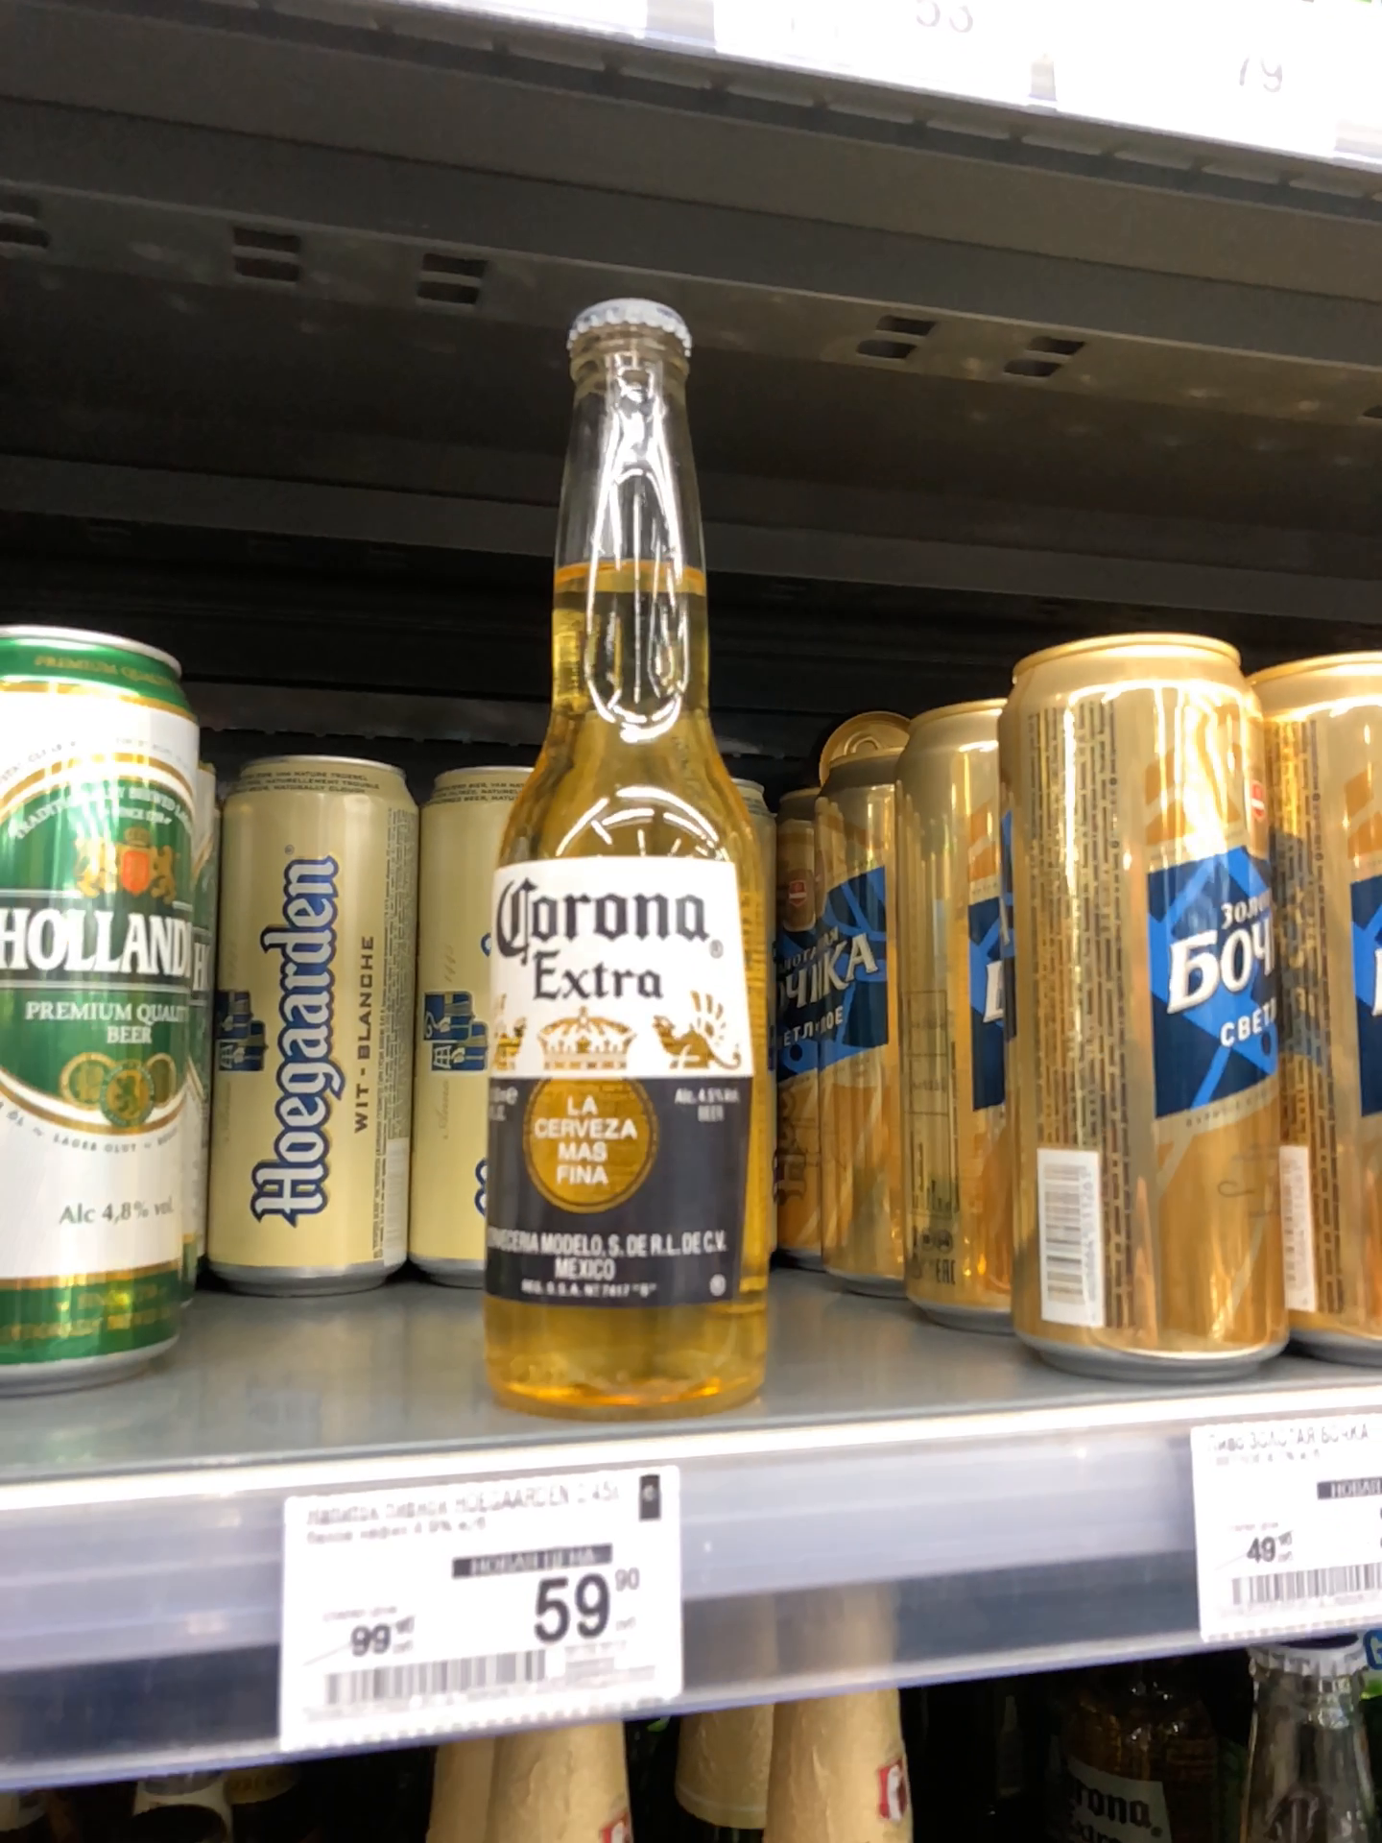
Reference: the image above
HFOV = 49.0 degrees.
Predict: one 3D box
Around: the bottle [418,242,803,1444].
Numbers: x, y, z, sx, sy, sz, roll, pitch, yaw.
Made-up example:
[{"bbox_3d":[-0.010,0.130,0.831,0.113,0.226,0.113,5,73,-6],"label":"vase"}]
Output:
[{"bbox_3d":[-0.014,-0.017,0.334,0.070,0.238,0.060,-1,-6,10],"label":"bottle"}]
